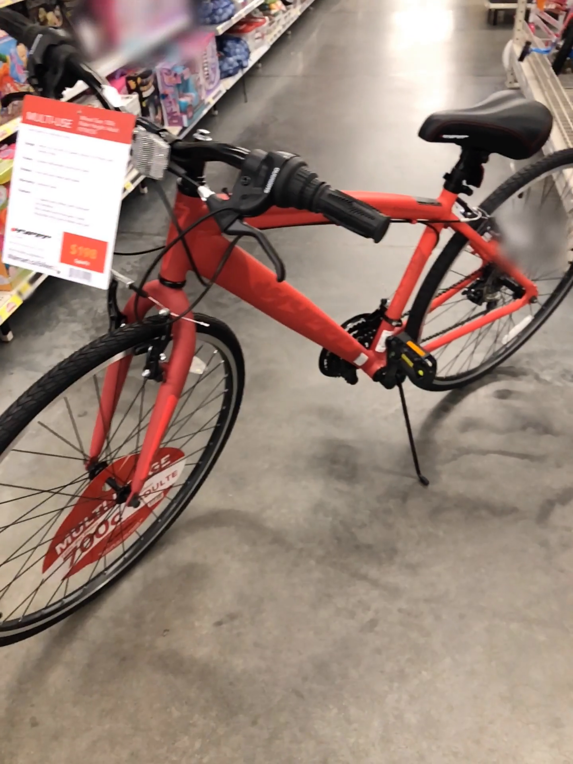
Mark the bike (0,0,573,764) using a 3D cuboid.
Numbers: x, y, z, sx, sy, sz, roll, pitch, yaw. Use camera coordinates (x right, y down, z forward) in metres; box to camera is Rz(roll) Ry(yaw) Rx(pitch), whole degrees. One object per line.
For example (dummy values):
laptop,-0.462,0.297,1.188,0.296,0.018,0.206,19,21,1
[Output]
bike,0.141,-0.120,1.189,1.689,1.000,0.616,-30,46,-26
